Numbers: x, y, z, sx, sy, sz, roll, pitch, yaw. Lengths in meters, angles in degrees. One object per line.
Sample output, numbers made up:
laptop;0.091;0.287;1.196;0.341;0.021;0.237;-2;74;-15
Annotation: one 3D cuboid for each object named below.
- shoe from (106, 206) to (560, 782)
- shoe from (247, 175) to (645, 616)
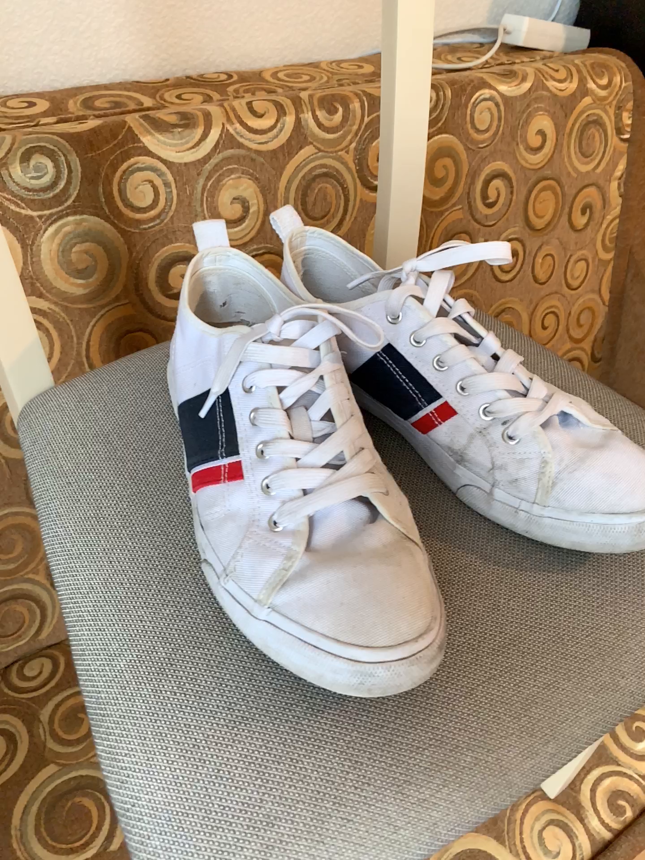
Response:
shoe;-0.023;0.001;0.341;0.120;0.090;0.281;-12;49;-17
shoe;0.088;-0.039;0.385;0.271;0.090;0.110;37;53;25
